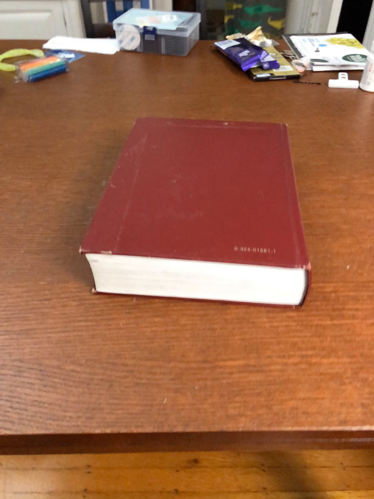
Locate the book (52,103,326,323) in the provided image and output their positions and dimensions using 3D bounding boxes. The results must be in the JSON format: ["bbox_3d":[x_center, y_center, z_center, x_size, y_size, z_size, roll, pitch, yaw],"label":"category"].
[{"bbox_3d":[0.014,-0.065,0.463,0.220,0.070,0.292,4,42,4],"label":"book"}]
